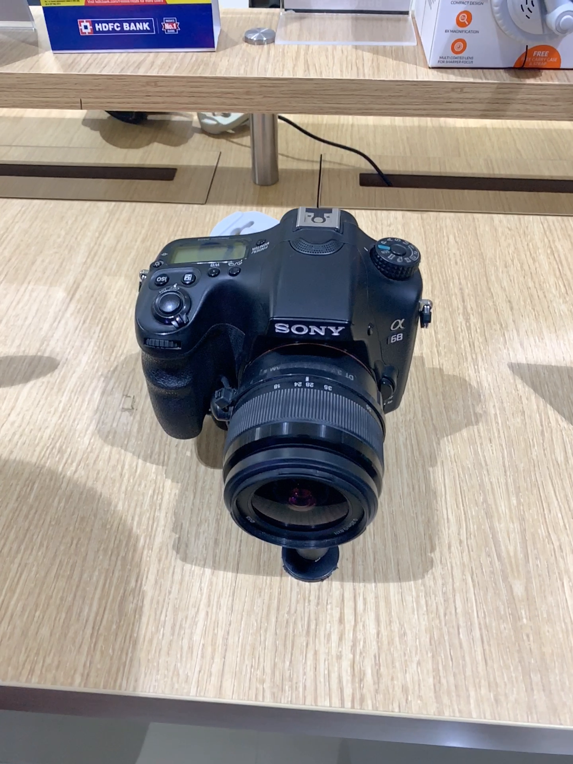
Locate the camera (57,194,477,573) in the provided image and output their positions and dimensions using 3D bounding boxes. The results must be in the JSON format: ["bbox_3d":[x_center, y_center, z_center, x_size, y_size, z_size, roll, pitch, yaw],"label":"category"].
[{"bbox_3d":[-0.003,-0.003,0.264,0.130,0.100,0.135,1,48,2],"label":"camera"}]
